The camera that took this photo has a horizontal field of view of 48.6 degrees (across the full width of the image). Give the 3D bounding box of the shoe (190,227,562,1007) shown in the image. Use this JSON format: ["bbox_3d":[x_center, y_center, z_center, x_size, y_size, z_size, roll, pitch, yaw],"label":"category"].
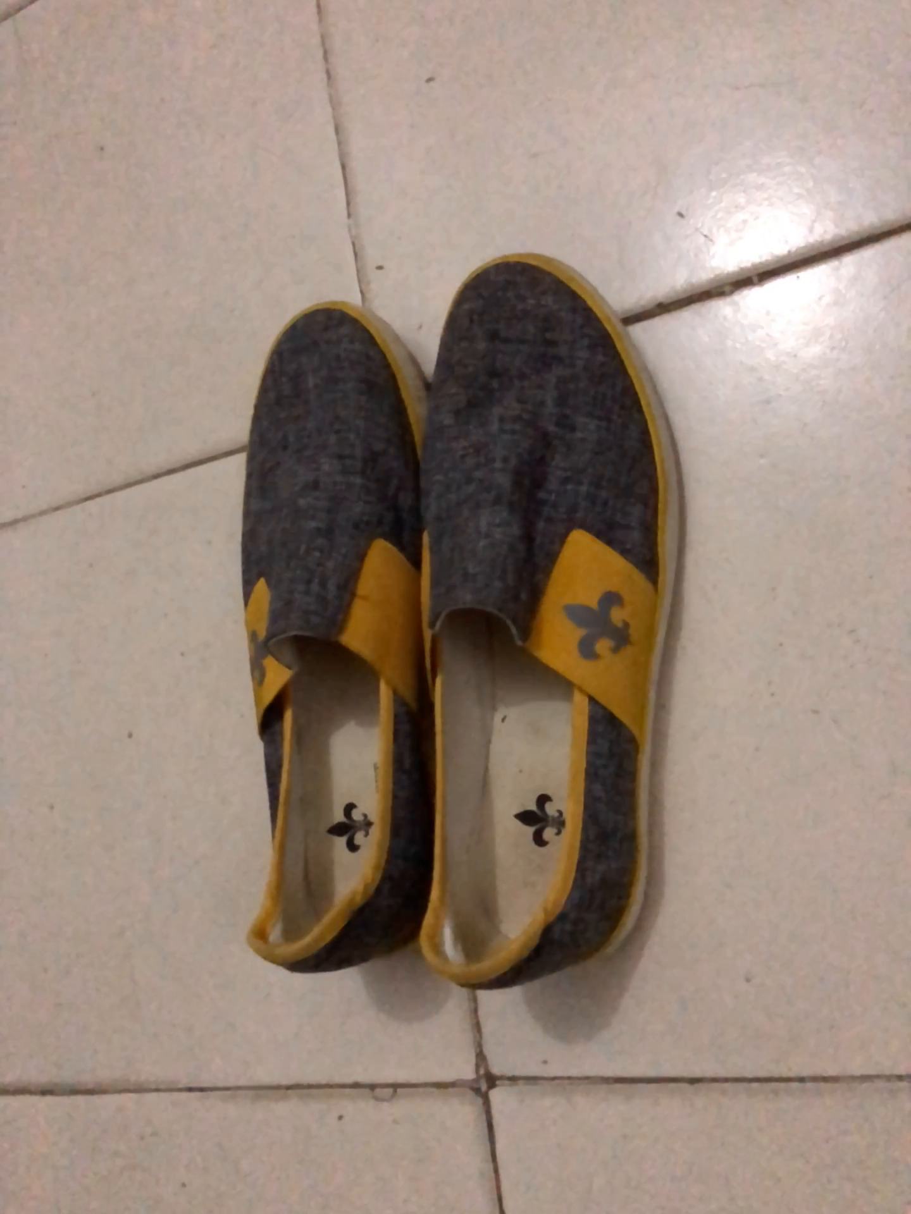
[{"bbox_3d":[-0.034,0.008,0.436,0.100,0.100,0.290,-9,81,24],"label":"shoe"}]

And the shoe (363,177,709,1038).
[{"bbox_3d":[0.031,0.001,0.367,0.090,0.100,0.260,-4,83,25],"label":"shoe"}]
